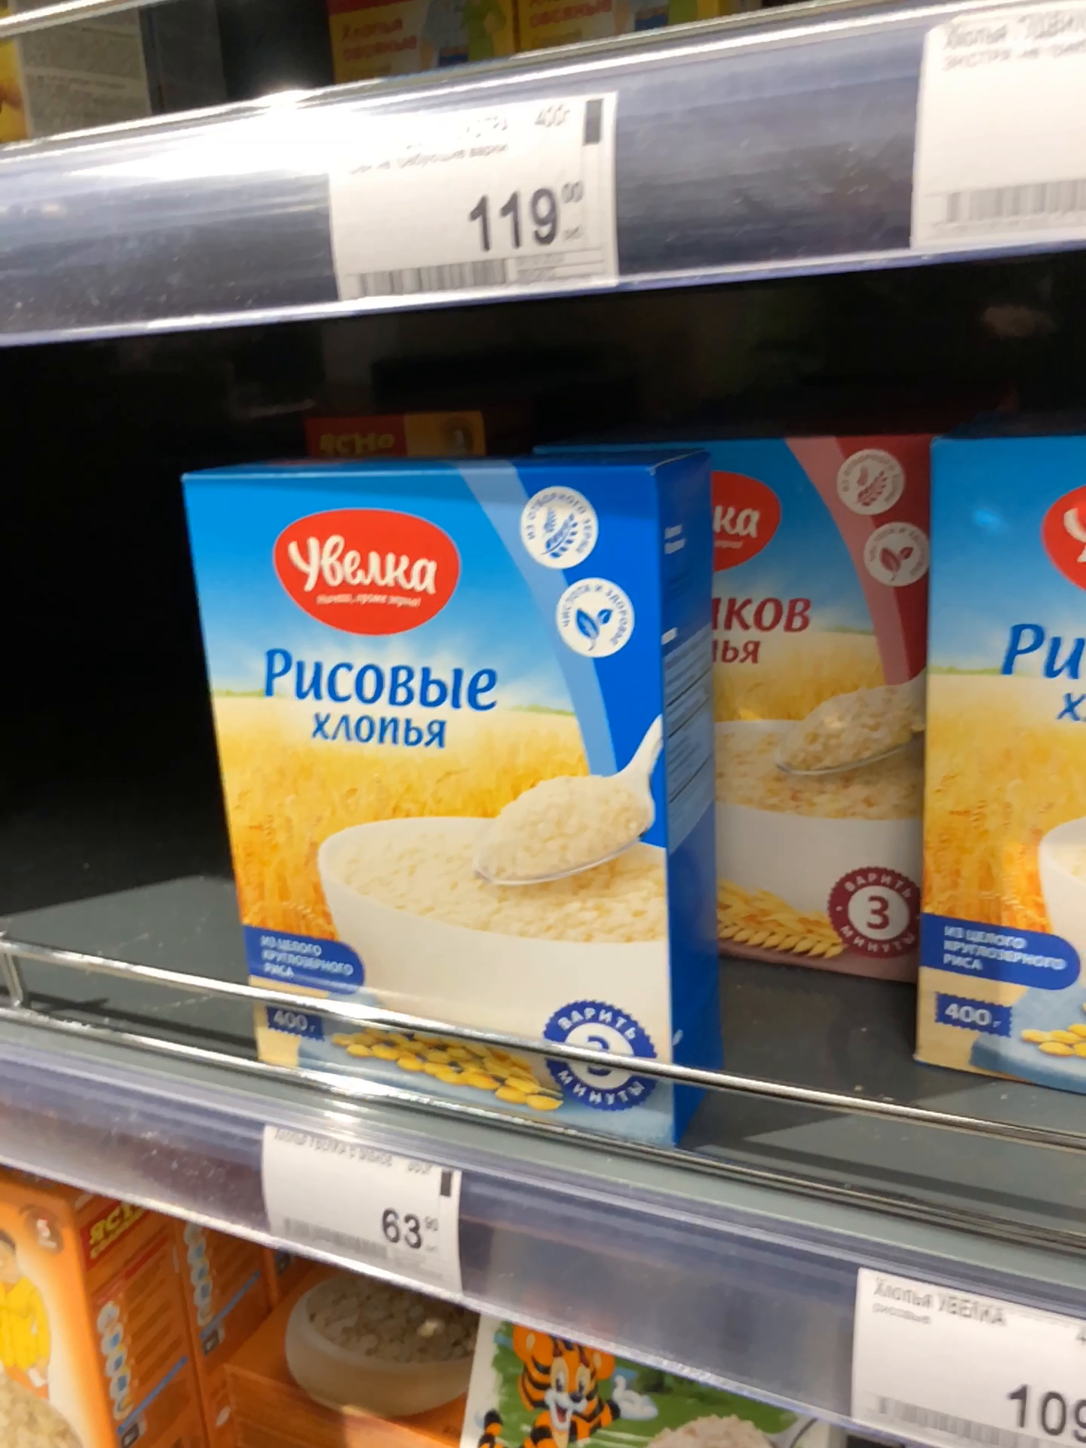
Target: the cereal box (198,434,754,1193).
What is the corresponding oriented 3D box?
[{"bbox_3d":[-0.014,0.020,0.358,0.140,0.199,0.060,4,17,22],"label":"cereal box"}]
